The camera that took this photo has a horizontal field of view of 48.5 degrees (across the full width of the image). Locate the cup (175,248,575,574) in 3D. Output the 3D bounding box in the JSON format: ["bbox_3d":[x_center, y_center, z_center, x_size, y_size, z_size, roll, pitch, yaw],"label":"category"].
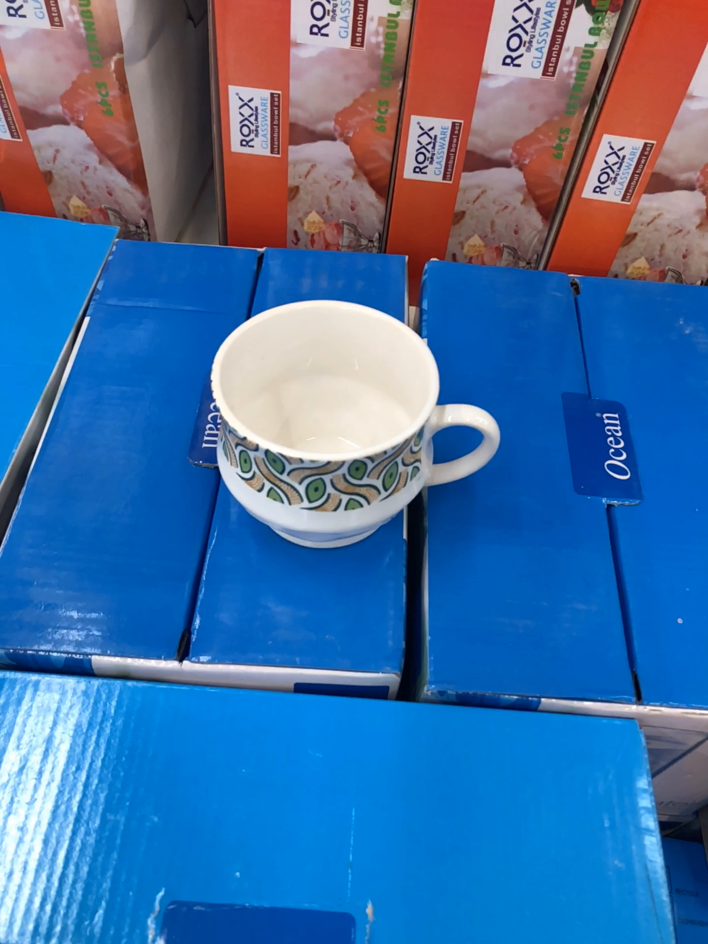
[{"bbox_3d":[0.005,-0.017,0.240,0.100,0.060,0.070,4,53,-3],"label":"cup"}]
